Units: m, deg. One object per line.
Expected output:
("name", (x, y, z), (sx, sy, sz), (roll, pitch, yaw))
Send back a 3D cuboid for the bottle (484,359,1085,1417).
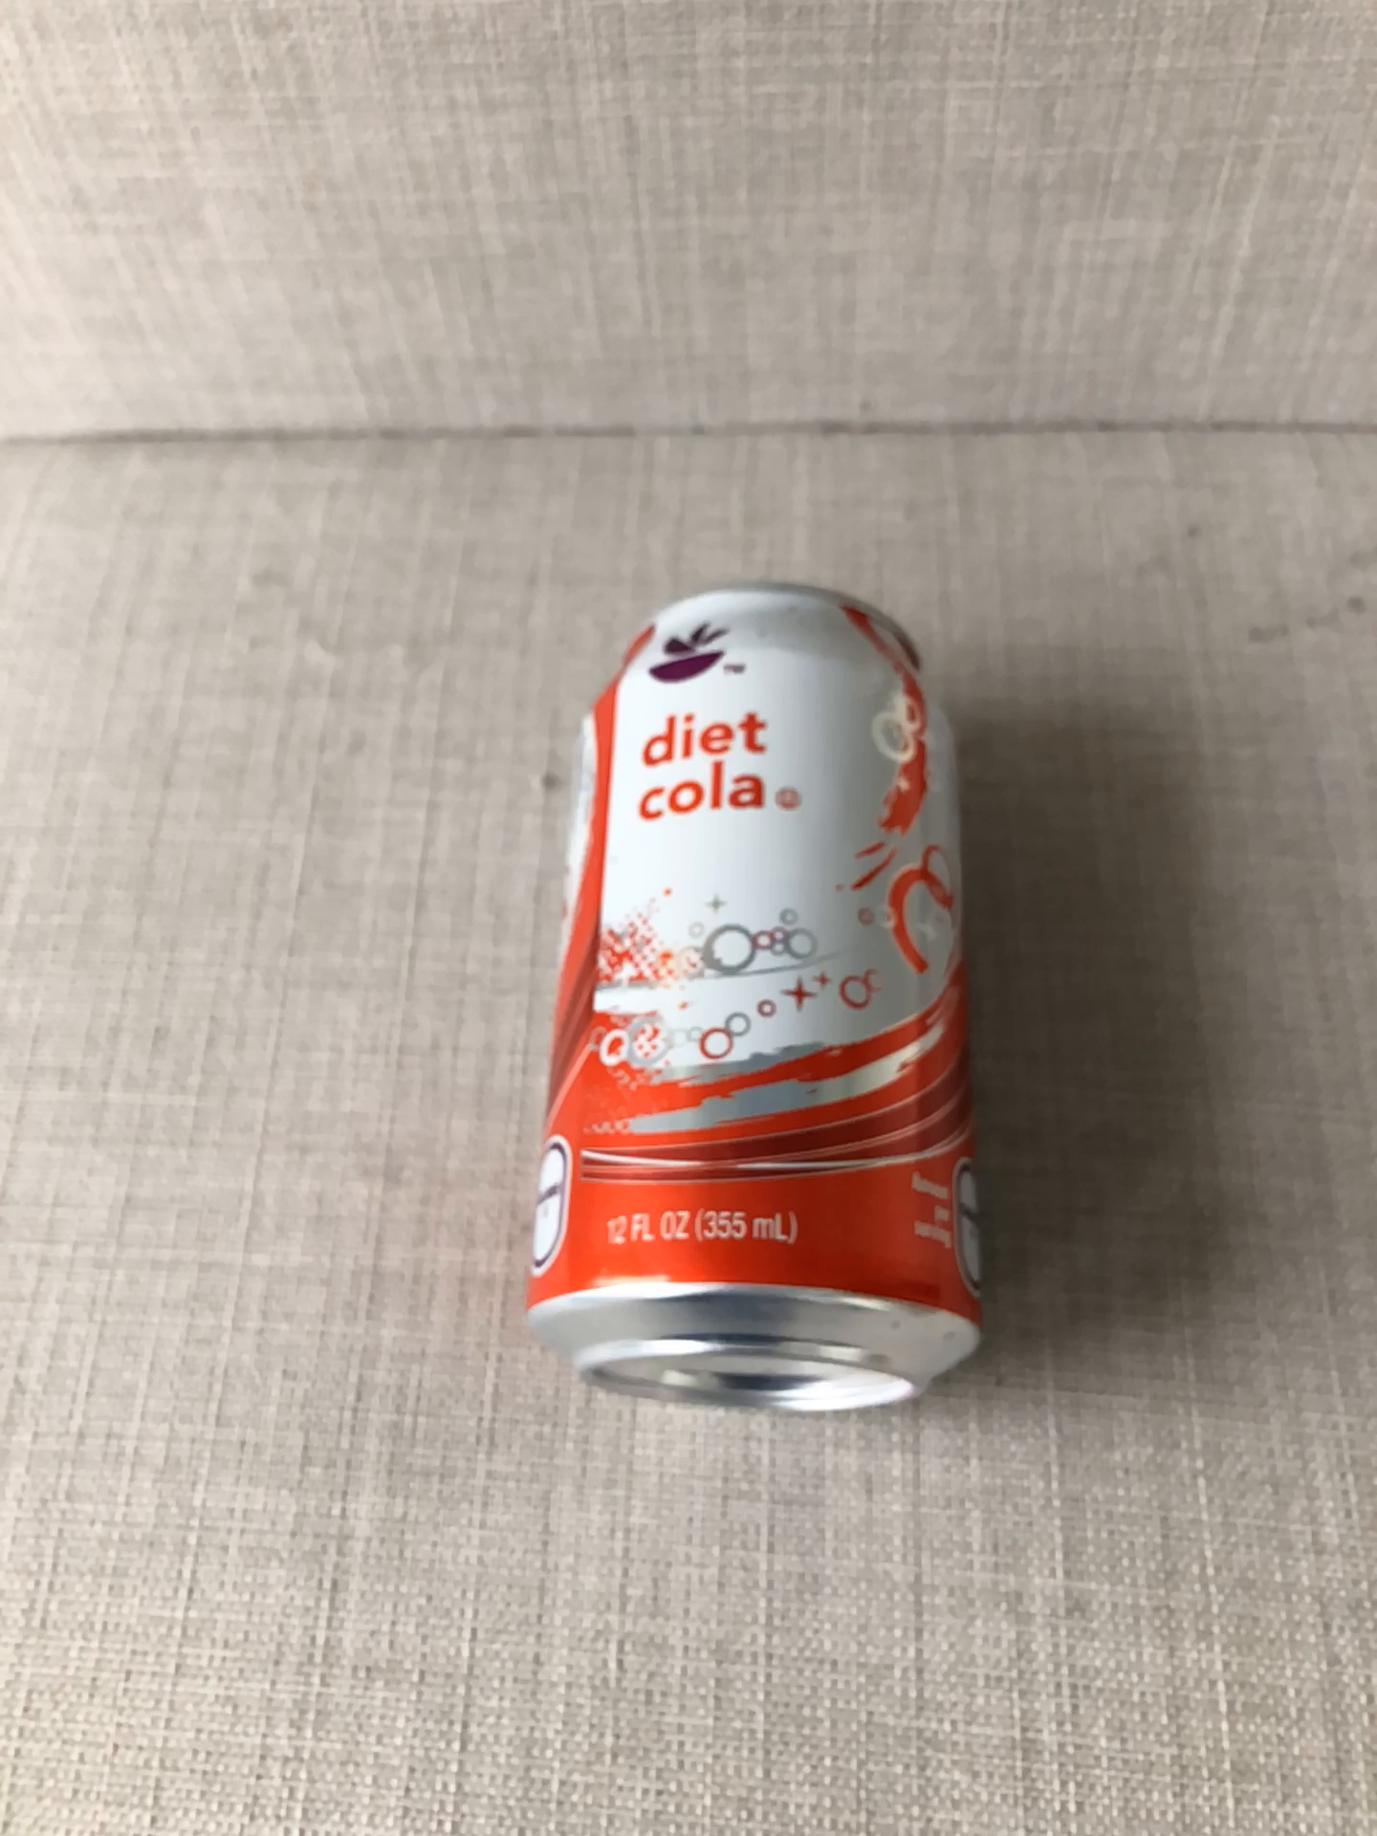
("bottle", (0.014, -0.005, 0.239), (0.070, 0.062, 0.149), (1, 68, 2))
